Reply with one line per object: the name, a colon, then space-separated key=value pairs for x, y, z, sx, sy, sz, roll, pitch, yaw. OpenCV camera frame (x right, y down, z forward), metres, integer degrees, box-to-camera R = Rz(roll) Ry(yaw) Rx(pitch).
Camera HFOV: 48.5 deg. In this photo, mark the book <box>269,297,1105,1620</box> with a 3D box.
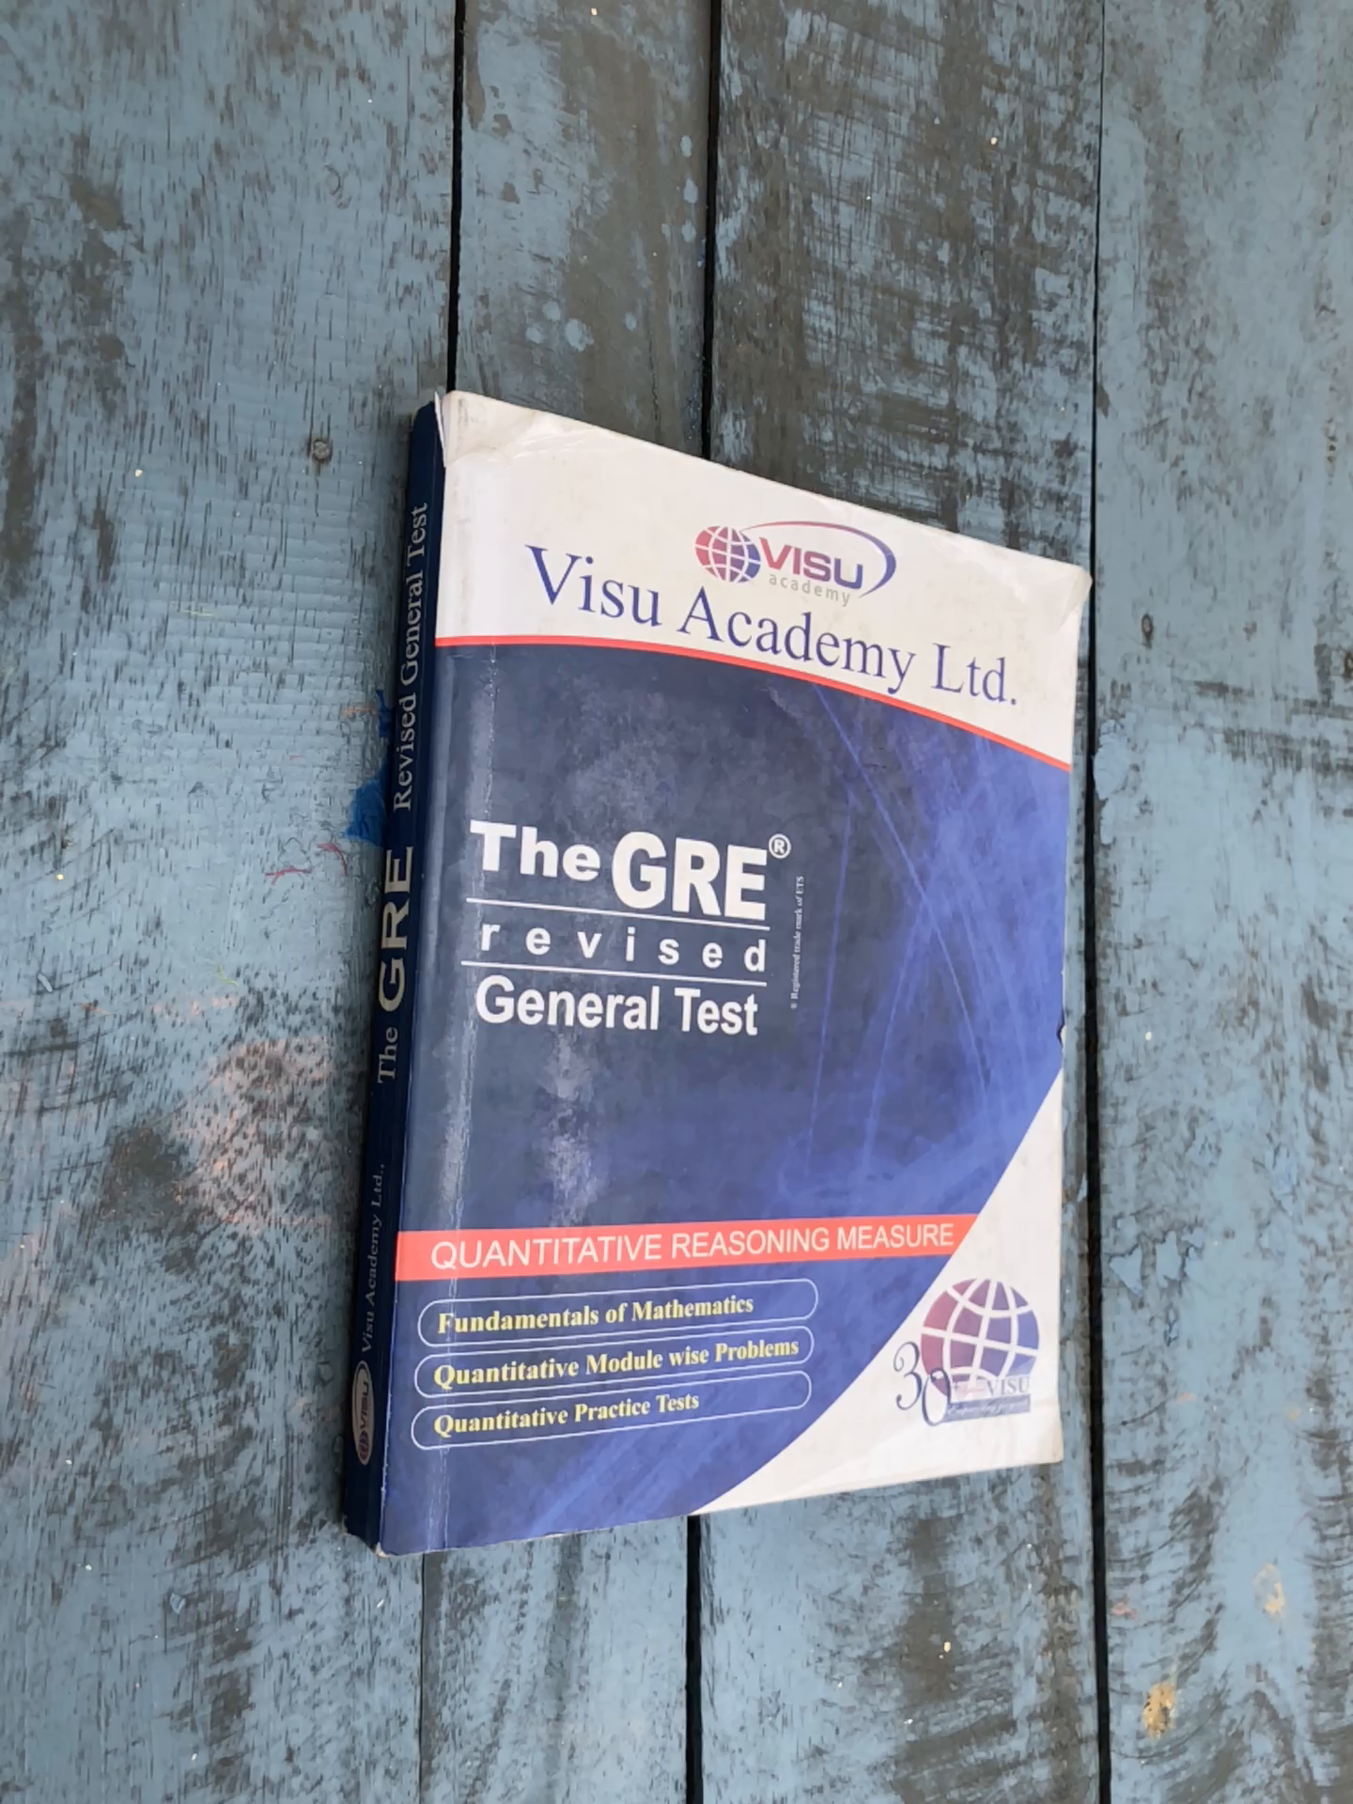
book: x=0.016 y=0.017 z=0.411 sx=0.221 sy=0.060 sz=0.290 roll=6 pitch=82 yaw=-31
